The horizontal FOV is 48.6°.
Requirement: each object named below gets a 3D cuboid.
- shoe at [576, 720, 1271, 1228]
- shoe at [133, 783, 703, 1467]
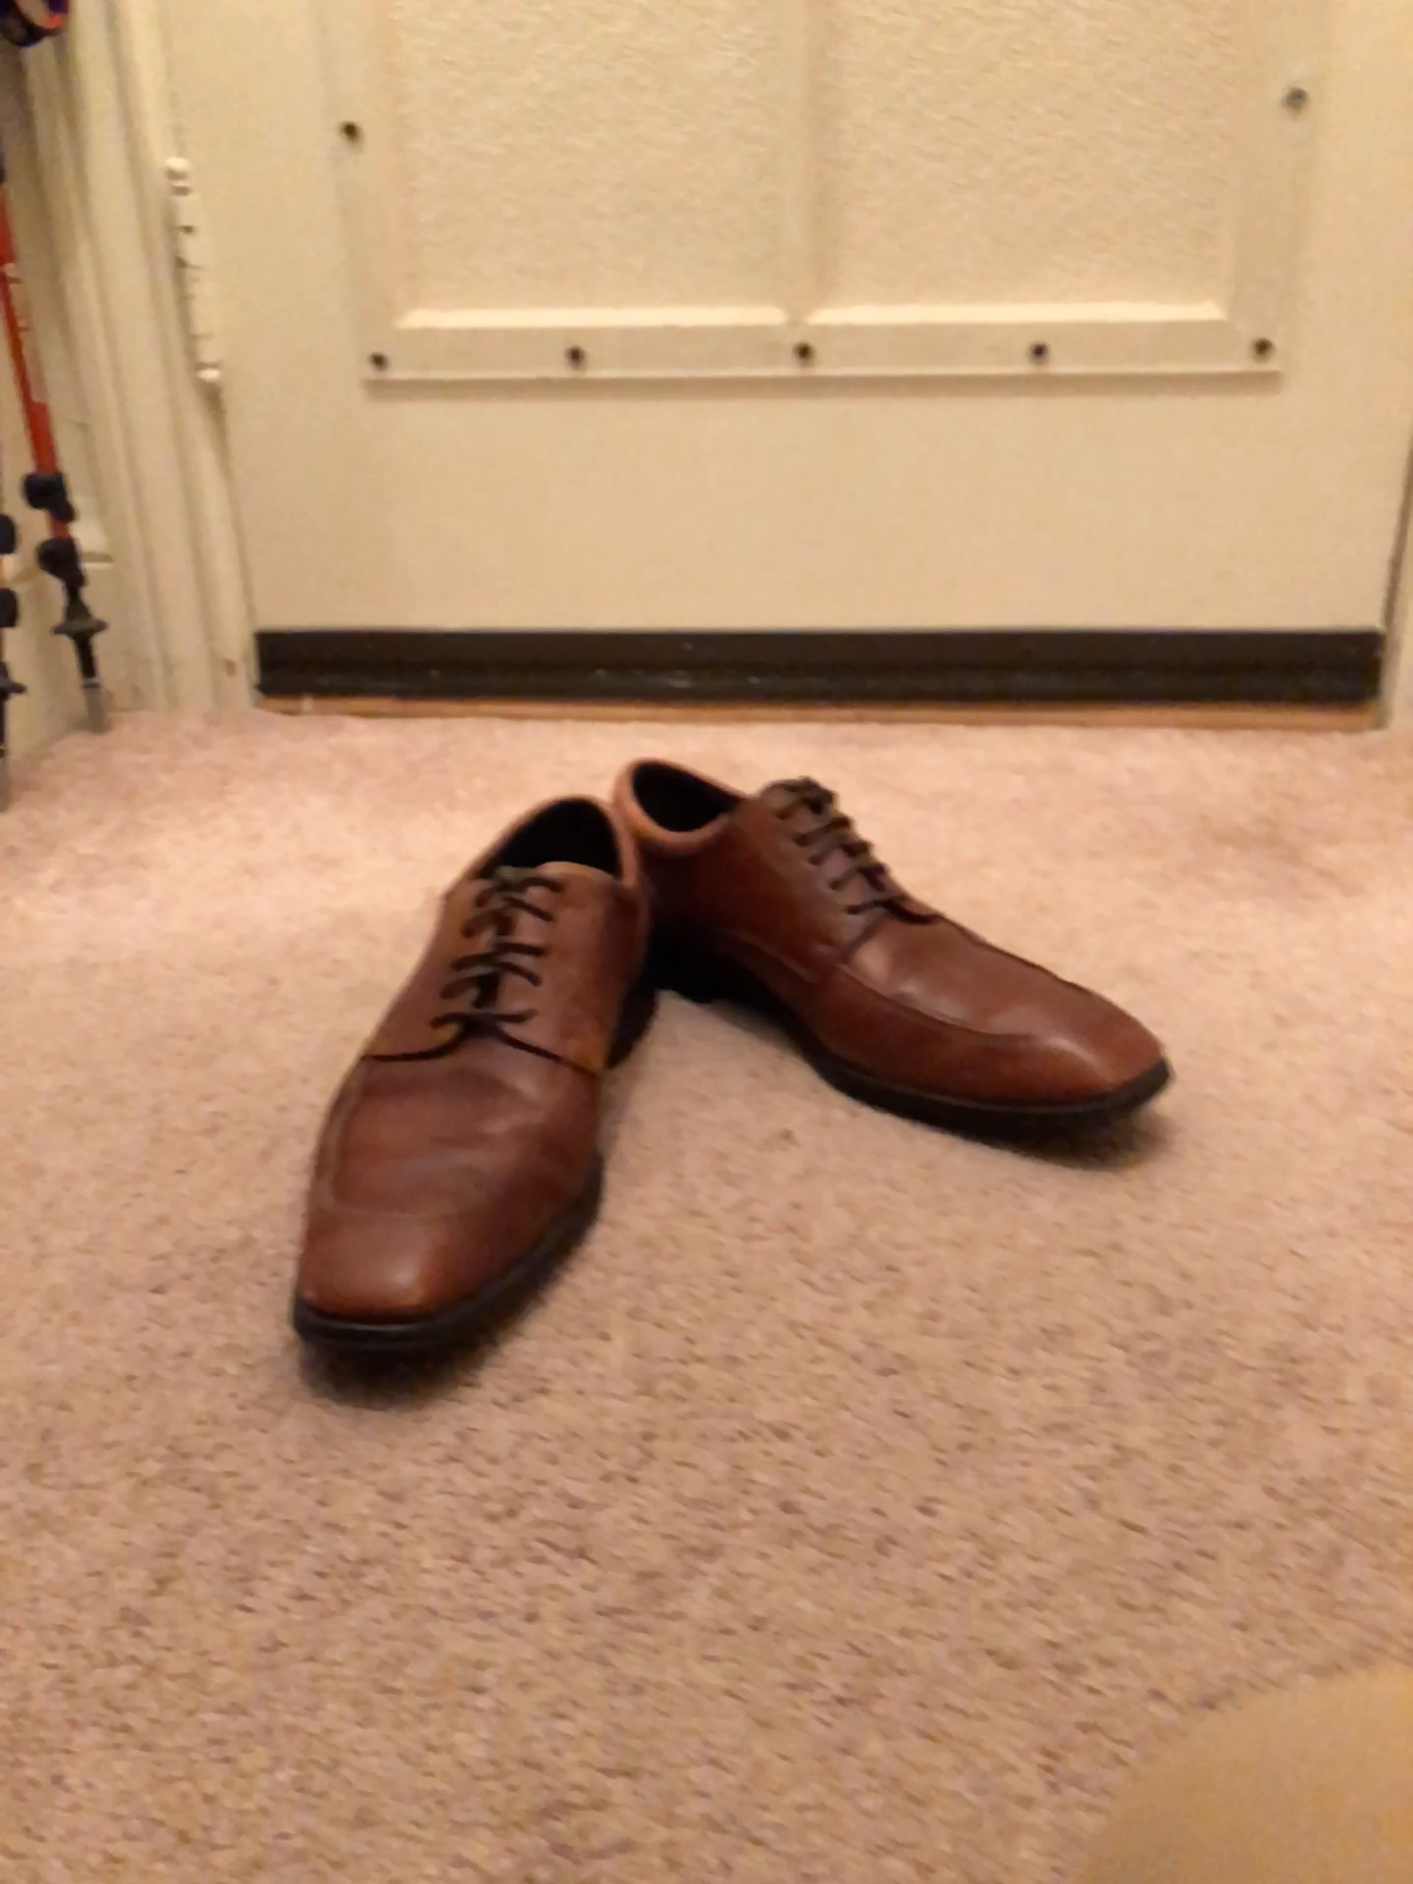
[{"bbox_3d":[0.079,-0.003,0.693,0.100,0.109,0.301,-23,33,-38],"label":"shoe"},{"bbox_3d":[-0.087,0.047,0.621,0.120,0.119,0.302,3,26,9],"label":"shoe"}]
